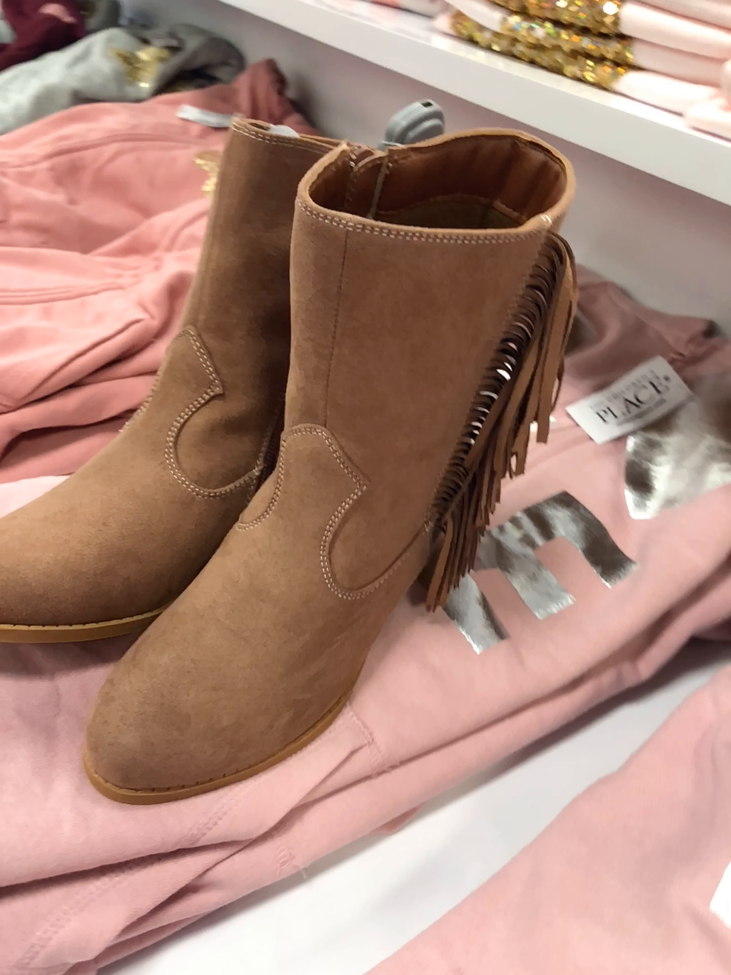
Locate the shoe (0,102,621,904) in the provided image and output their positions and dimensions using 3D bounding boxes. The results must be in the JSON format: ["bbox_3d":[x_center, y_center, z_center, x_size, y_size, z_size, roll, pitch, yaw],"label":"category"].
[{"bbox_3d":[-0.019,-0.010,0.296,0.092,0.199,0.211,28,42,27],"label":"shoe"}]

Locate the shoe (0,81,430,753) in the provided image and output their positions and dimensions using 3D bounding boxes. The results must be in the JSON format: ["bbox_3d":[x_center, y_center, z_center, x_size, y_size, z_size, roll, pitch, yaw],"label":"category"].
[{"bbox_3d":[-0.085,-0.044,0.330,0.092,0.199,0.201,28,36,27],"label":"shoe"}]
